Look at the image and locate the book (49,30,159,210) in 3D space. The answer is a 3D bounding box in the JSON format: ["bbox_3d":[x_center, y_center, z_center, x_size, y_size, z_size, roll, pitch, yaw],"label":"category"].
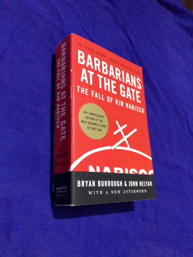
[{"bbox_3d":[0.011,-0.004,0.300,0.141,0.050,0.210,13,67,-40],"label":"book"}]
